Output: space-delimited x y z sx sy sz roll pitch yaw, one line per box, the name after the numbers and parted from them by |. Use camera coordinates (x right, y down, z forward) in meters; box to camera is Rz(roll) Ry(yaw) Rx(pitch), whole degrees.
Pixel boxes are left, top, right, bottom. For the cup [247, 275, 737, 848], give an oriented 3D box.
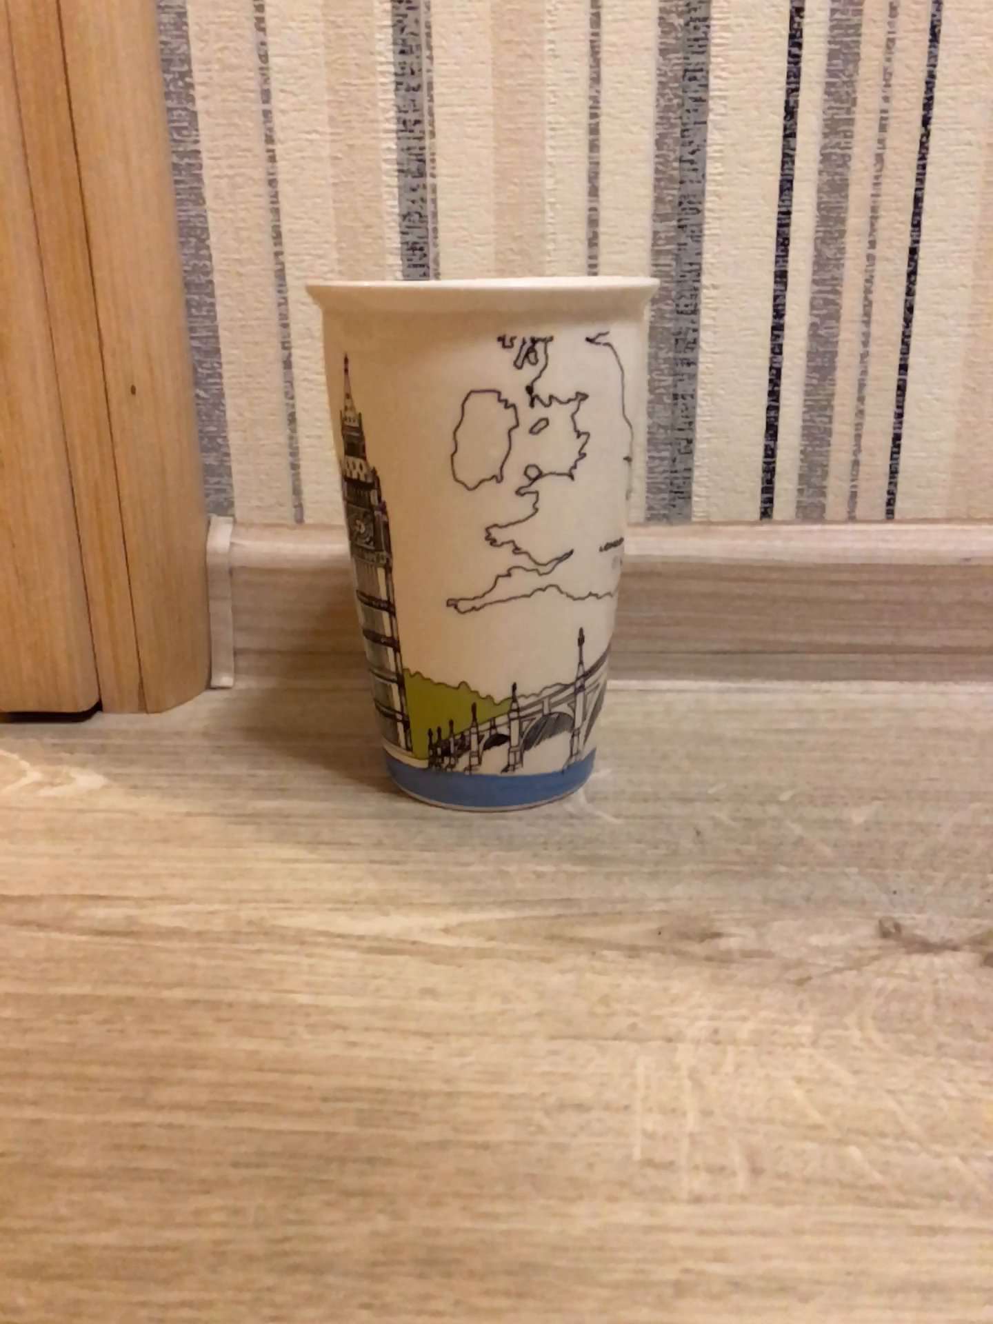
-0.004 -0.039 0.312 0.097 0.133 0.096 -1 19 0 | cup
